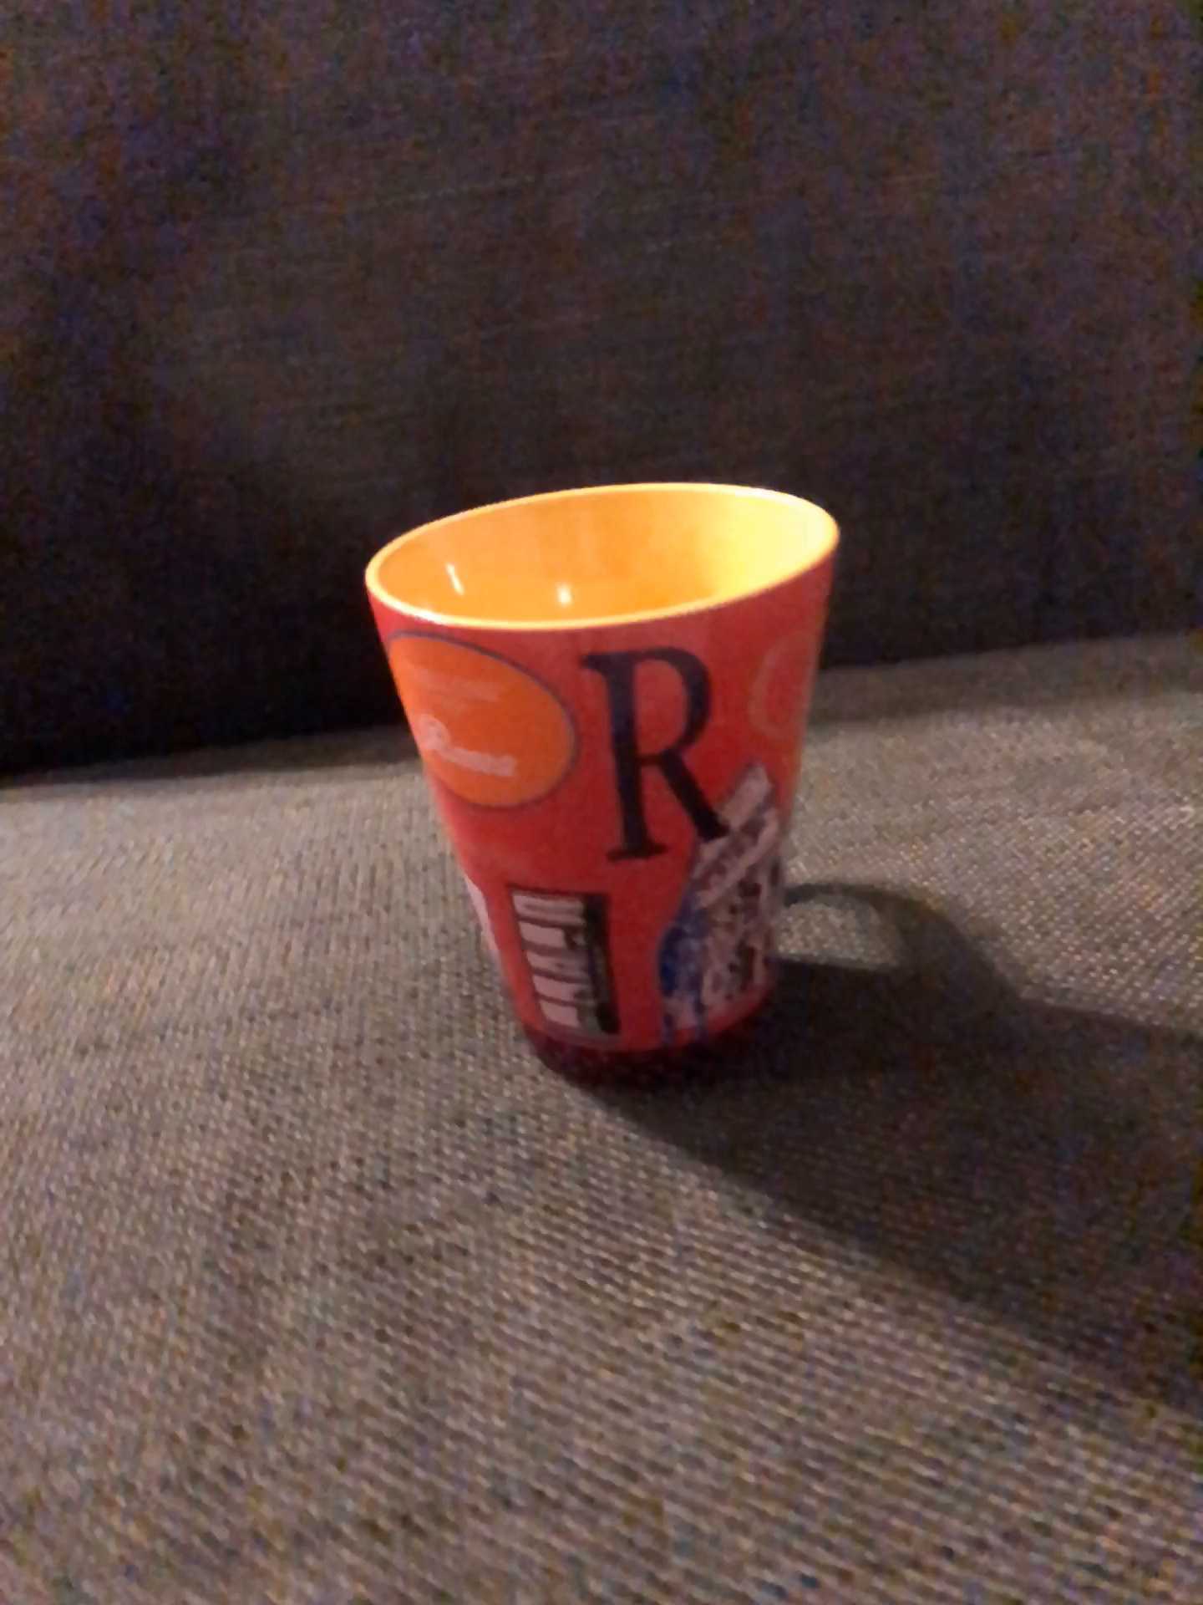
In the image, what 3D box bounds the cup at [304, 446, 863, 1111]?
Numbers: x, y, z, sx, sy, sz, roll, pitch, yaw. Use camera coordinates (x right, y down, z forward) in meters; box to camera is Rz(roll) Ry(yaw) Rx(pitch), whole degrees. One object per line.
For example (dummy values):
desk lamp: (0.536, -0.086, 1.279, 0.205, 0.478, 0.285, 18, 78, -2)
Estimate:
cup: (0.003, -0.013, 0.291, 0.090, 0.100, 0.121, -2, 25, 5)
